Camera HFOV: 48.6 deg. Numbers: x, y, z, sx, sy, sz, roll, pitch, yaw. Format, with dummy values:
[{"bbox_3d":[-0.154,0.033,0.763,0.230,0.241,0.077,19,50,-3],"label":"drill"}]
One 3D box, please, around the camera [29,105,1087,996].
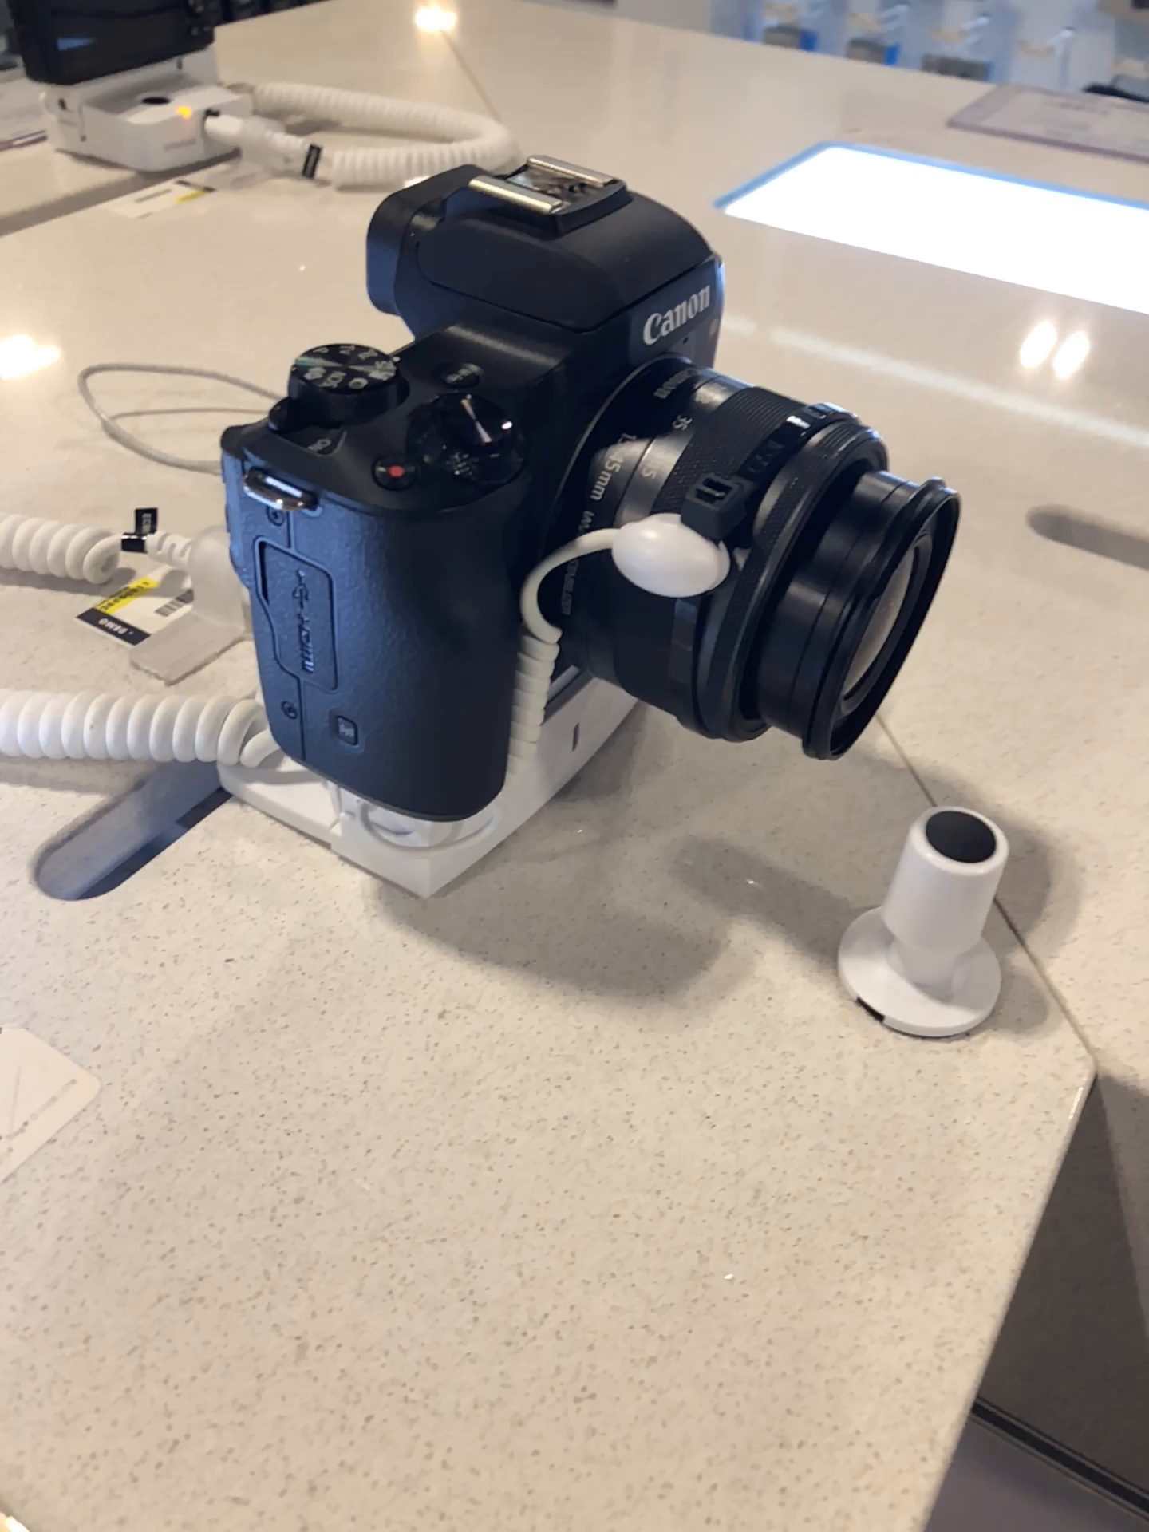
[{"bbox_3d":[0.004,-0.053,0.232,0.120,0.079,0.131,23,45,22],"label":"camera"}]
